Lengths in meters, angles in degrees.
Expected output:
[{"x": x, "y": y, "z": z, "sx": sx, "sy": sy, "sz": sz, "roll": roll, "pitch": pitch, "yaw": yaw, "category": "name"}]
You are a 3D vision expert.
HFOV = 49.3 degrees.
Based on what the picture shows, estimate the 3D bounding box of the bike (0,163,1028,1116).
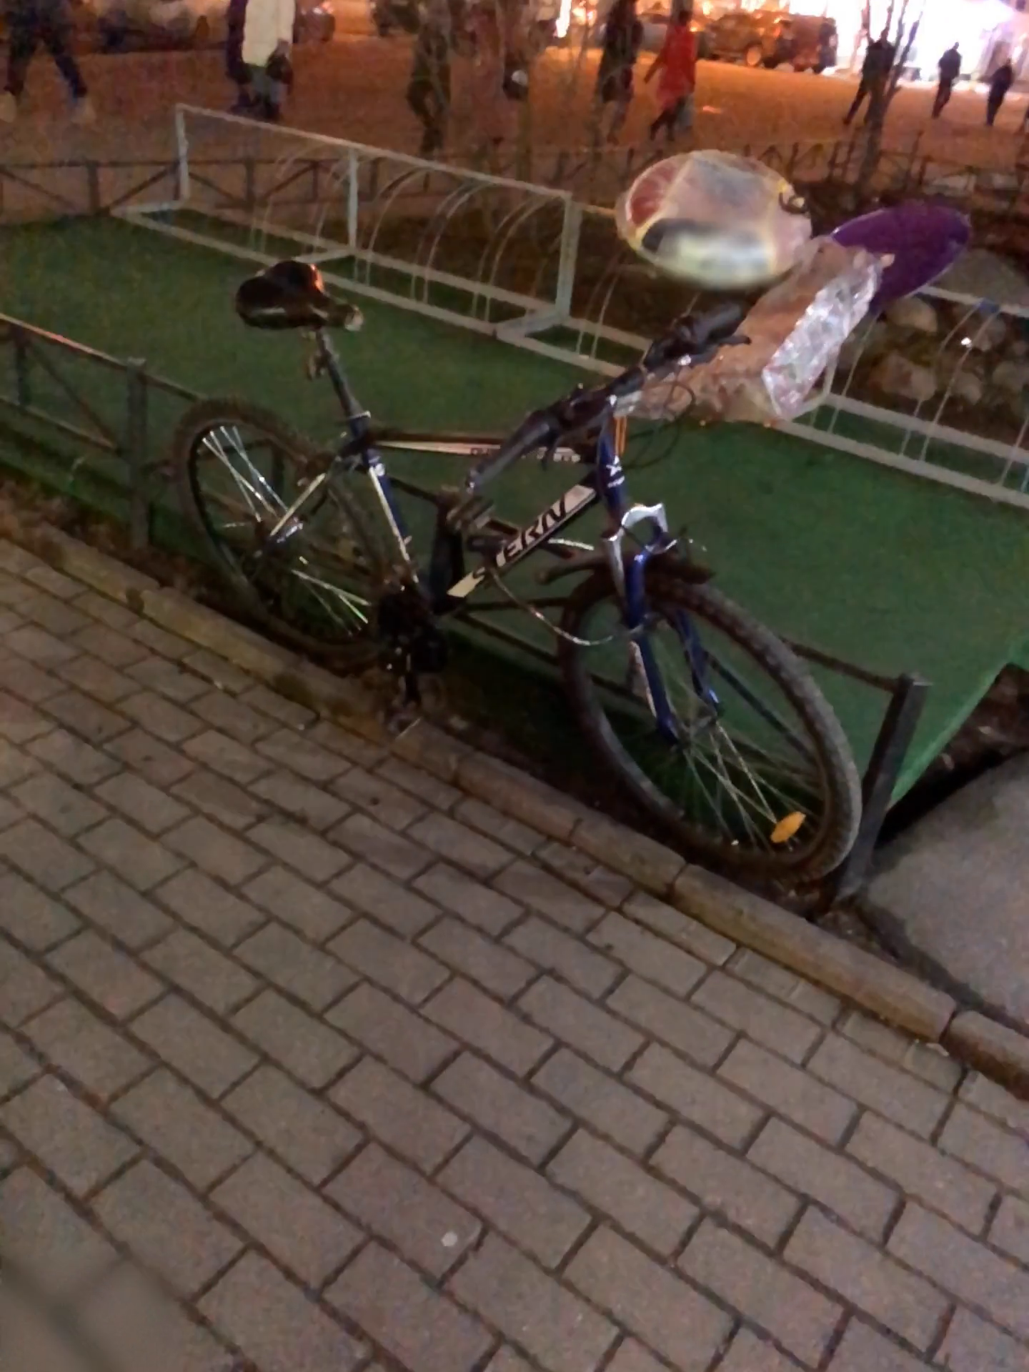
[{"x": -0.139, "y": -0.202, "z": 1.778, "sx": 1.459, "sy": 0.882, "sz": 0.532, "roll": 28, "pitch": 35, "yaw": 28, "category": "bike"}]
